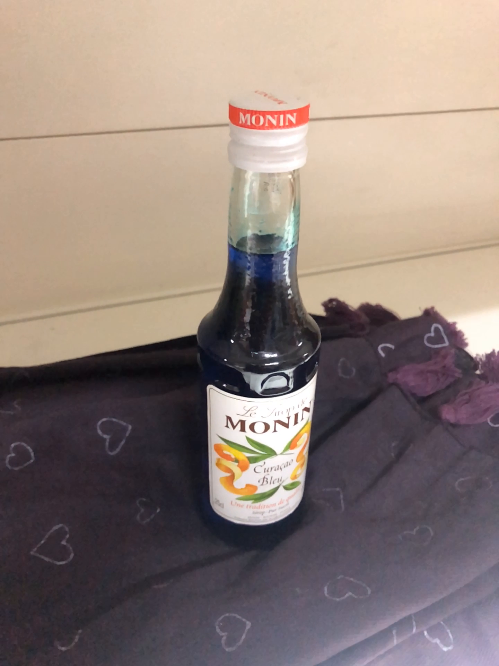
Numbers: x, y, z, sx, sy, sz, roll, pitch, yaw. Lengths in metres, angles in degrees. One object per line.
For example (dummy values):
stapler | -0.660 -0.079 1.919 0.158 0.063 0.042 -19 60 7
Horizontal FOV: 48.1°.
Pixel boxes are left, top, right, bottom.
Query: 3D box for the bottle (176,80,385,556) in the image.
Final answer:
bottle | 0.007 0.004 0.252 0.060 0.209 0.050 -9 32 -17
